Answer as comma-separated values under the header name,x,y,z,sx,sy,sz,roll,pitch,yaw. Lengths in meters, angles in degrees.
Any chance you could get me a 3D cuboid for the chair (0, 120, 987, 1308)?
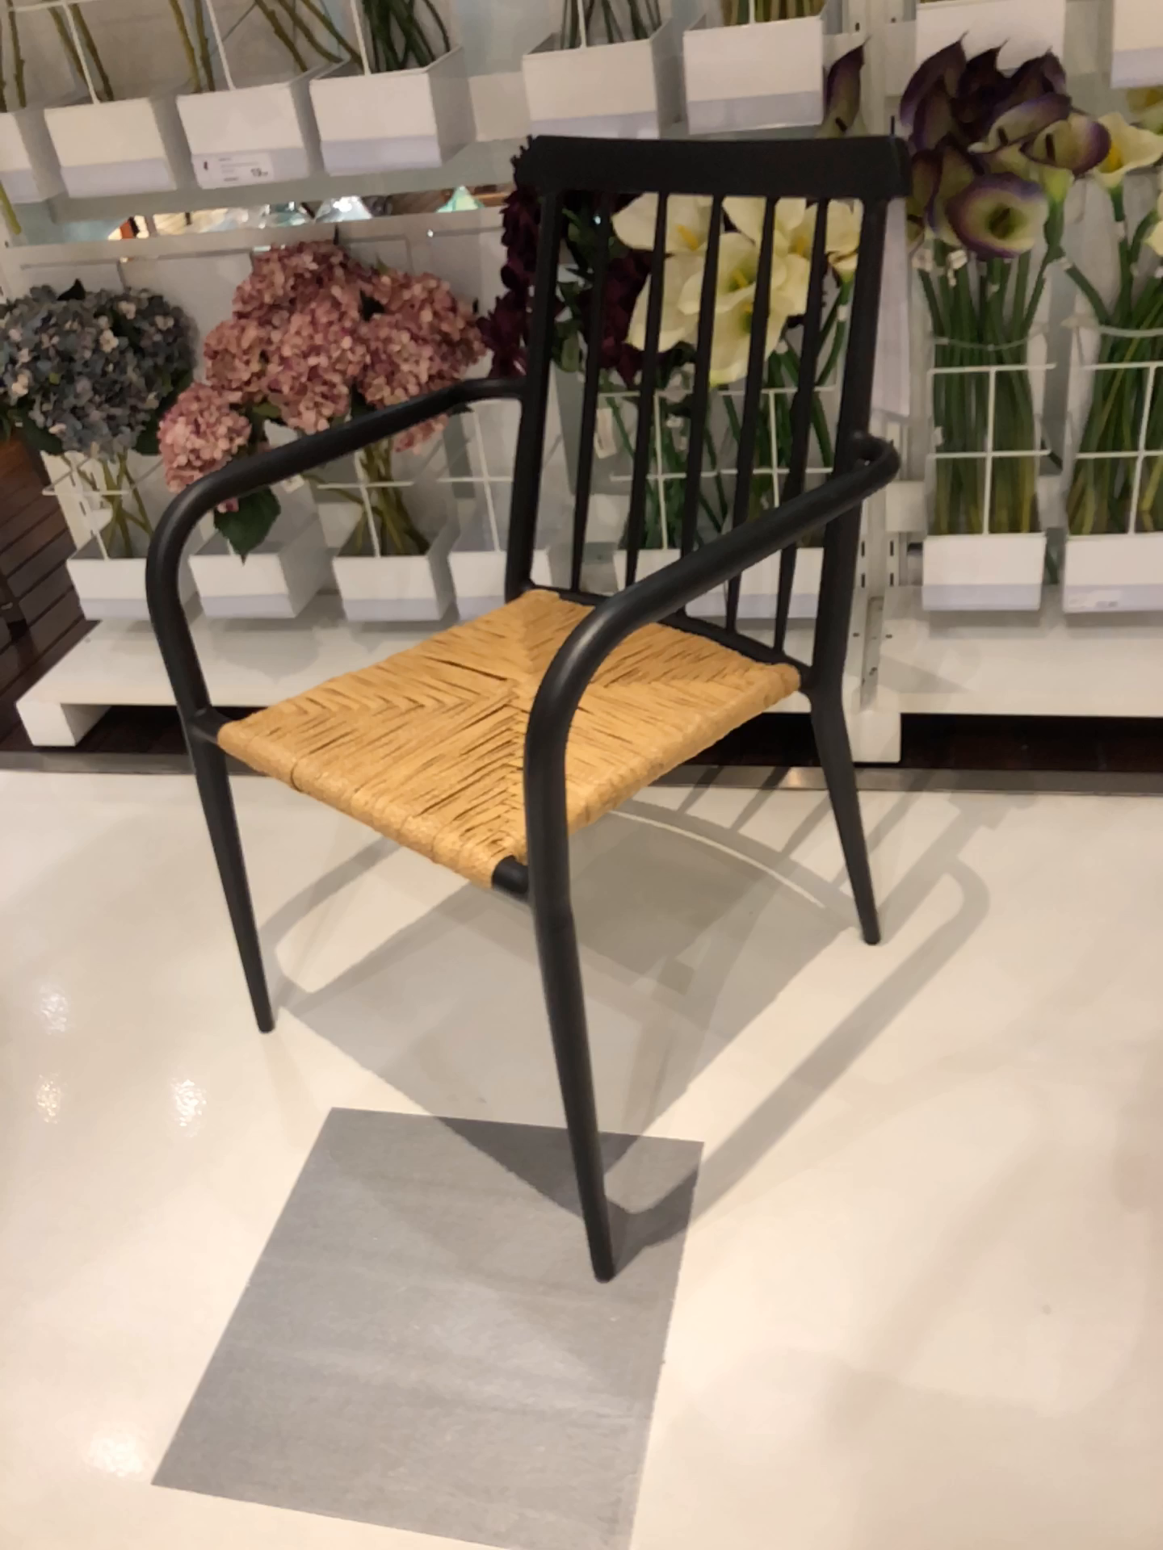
name,x,y,z,sx,sy,sz,roll,pitch,yaw
chair,-0.045,-0.107,1.152,0.542,0.754,0.582,23,46,39
